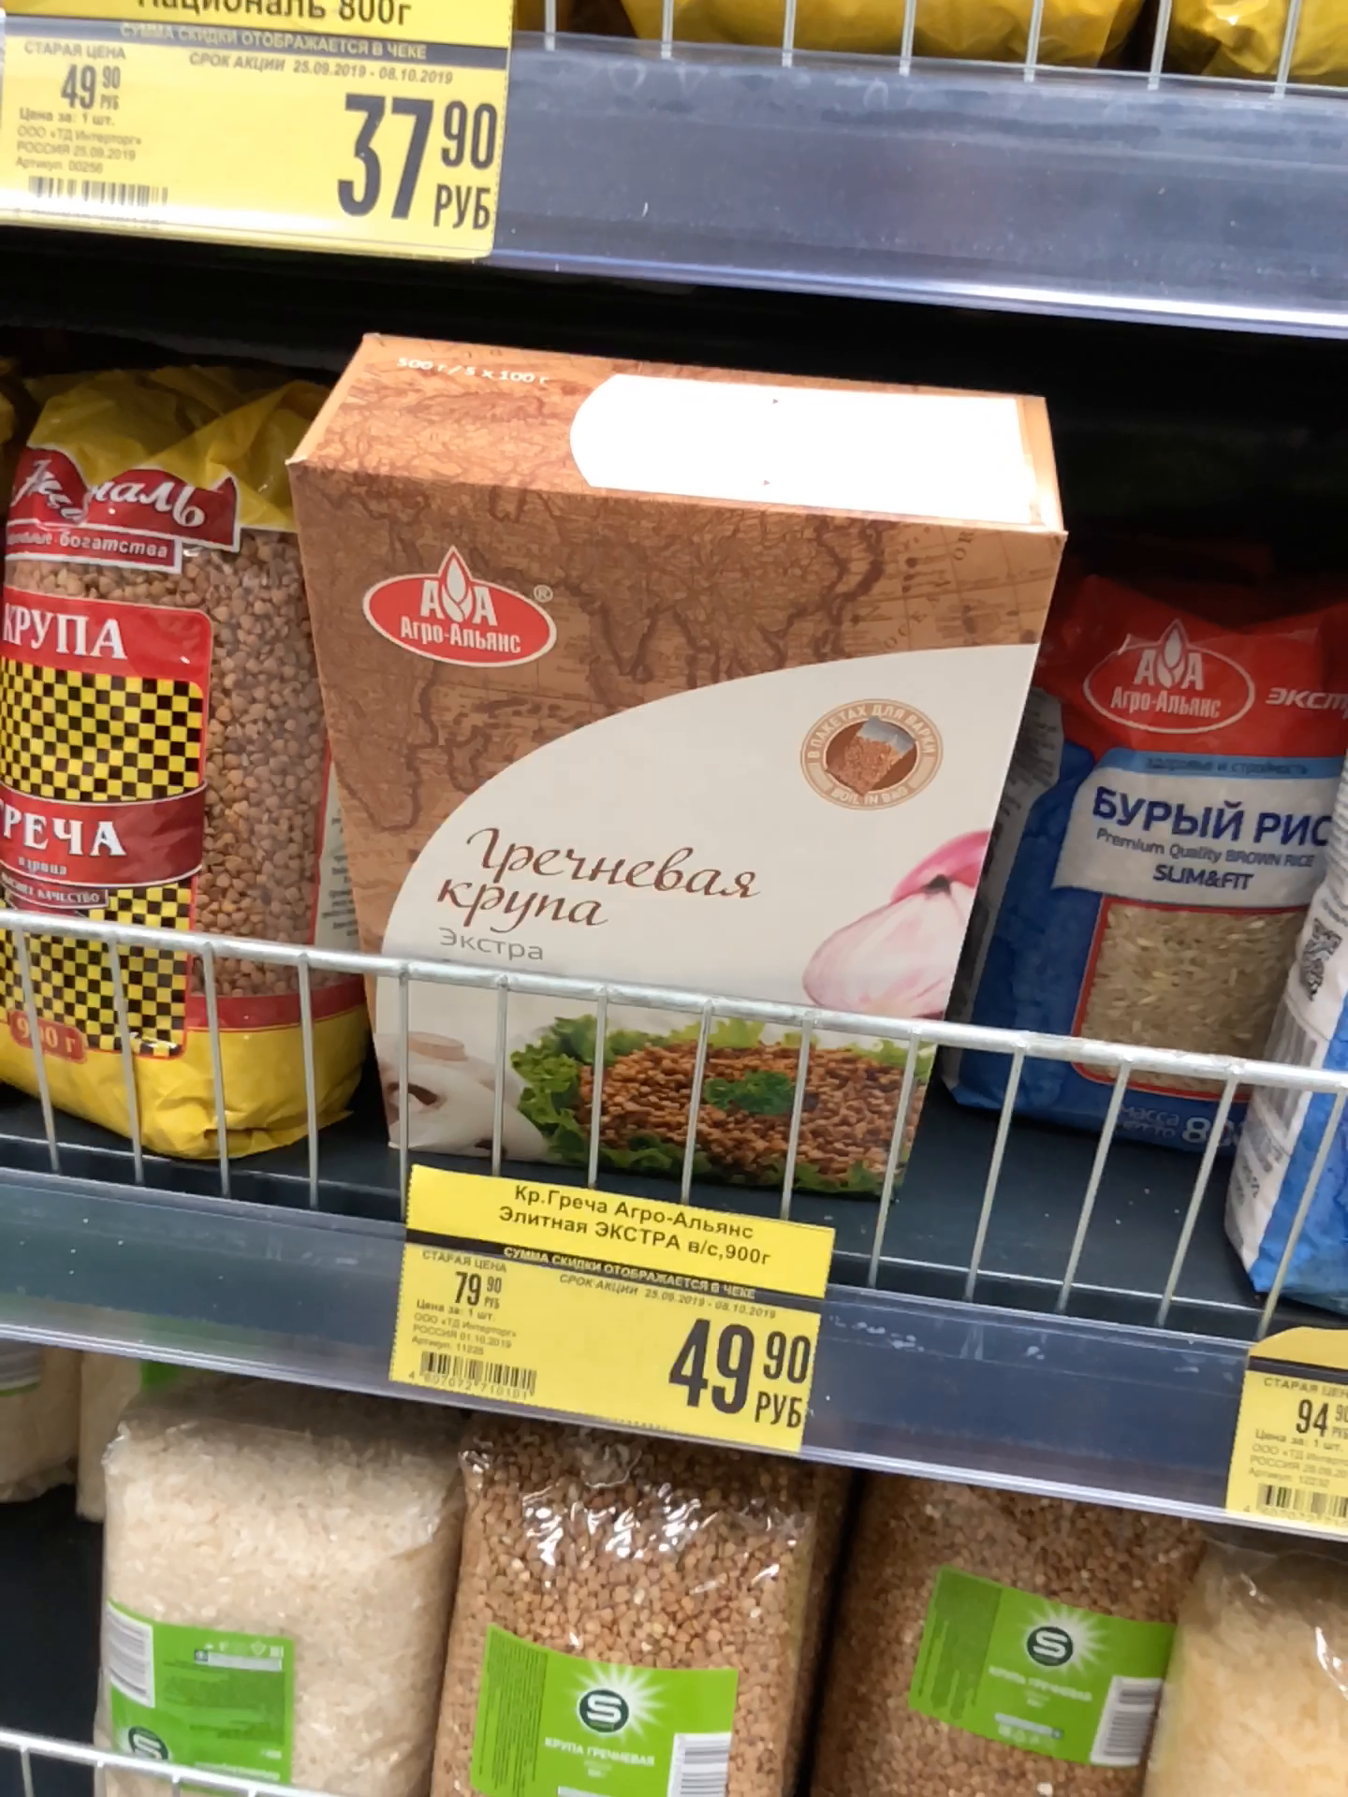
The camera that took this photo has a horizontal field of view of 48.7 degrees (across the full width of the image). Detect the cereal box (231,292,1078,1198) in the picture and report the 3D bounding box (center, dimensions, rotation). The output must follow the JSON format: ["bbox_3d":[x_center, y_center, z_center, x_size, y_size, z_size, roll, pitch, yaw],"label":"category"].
[{"bbox_3d":[-0.006,-0.020,0.332,0.140,0.198,0.050,6,44,3],"label":"cereal box"}]
